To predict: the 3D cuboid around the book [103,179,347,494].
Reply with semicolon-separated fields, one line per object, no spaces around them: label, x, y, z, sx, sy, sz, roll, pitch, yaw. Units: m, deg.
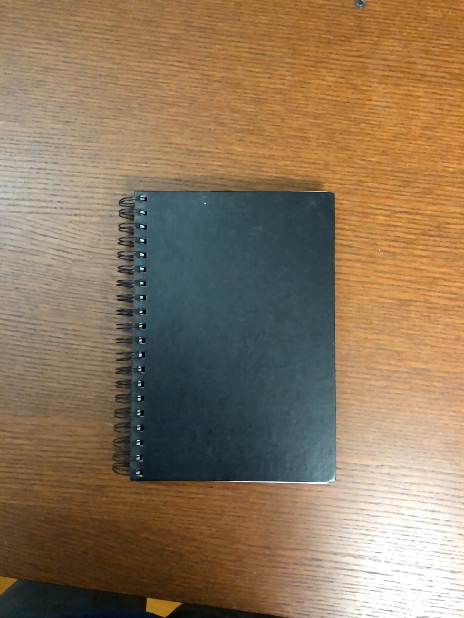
book;-0.006;0.021;0.440;0.200;0.030;0.260;0;87;2
